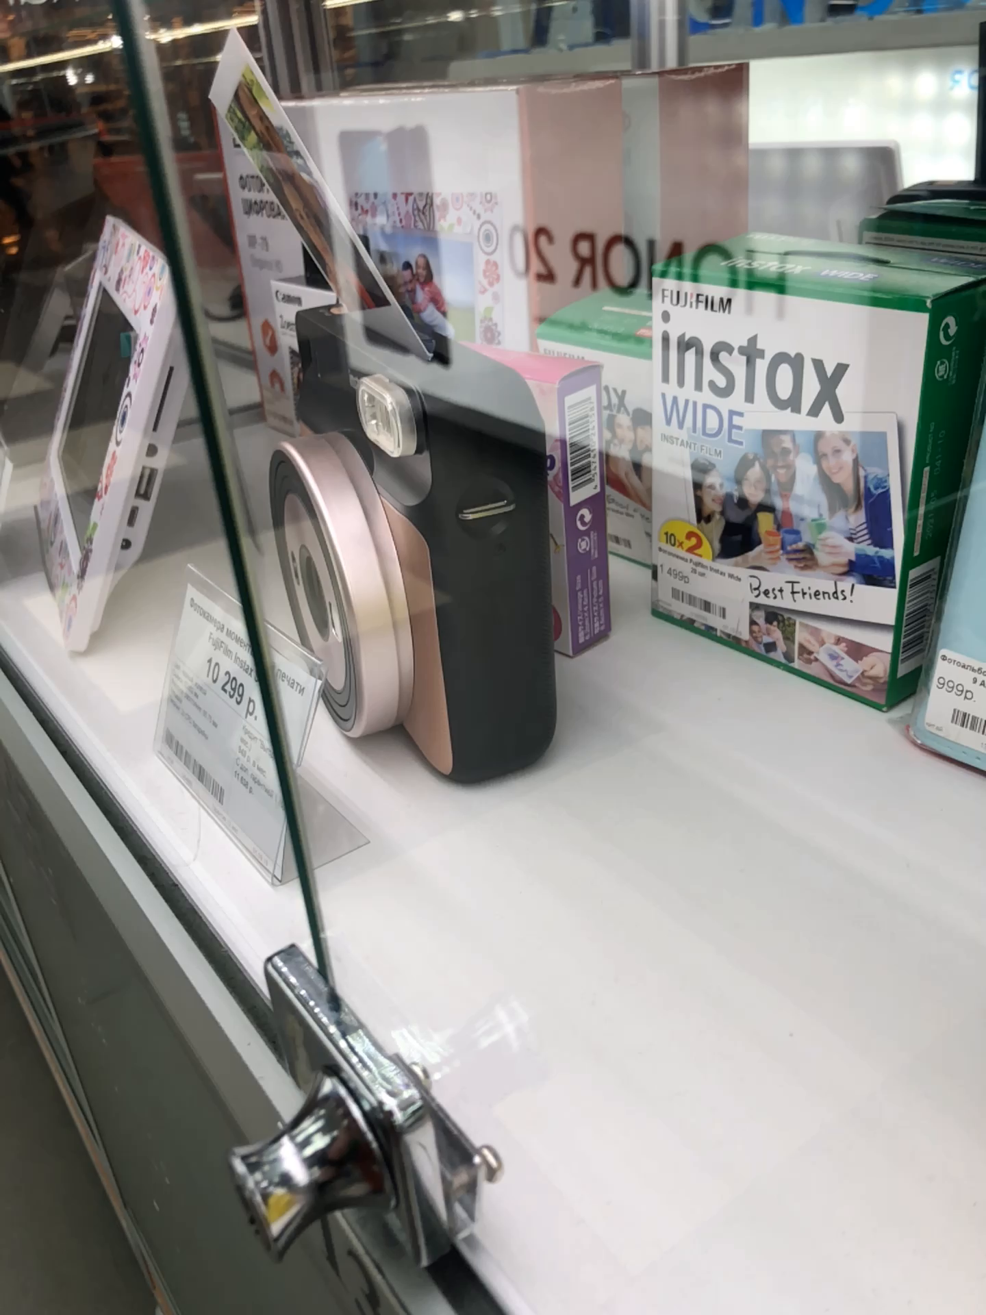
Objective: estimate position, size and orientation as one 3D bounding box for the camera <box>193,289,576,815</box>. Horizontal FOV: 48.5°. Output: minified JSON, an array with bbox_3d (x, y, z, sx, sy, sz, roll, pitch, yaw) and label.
[{"bbox_3d":[-0.037,-0.042,0.324,0.060,0.104,0.141,-15,29,-18],"label":"camera"}]
